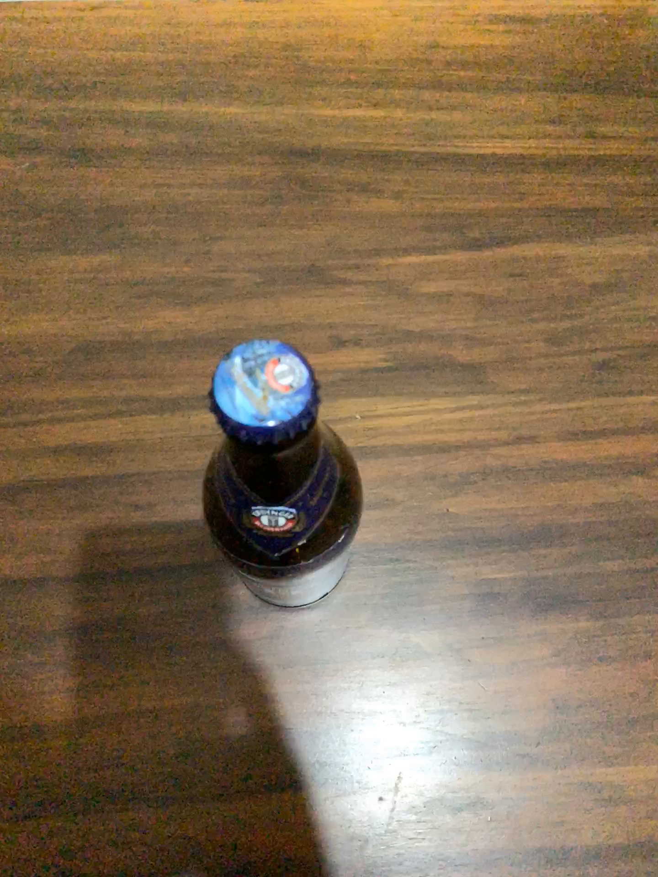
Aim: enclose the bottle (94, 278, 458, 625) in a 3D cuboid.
[{"bbox_3d":[-0.016,0.033,0.278,0.080,0.250,0.070,-2,72,-2],"label":"bottle"}]
